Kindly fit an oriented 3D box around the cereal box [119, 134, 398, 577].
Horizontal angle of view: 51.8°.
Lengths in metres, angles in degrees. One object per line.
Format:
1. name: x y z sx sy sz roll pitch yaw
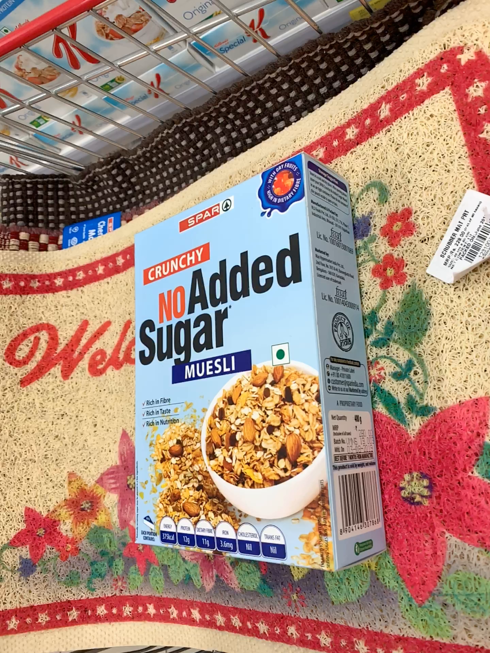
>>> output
1. cereal box: -0.009 0.024 0.333 0.181 0.050 0.230 -15 72 40
